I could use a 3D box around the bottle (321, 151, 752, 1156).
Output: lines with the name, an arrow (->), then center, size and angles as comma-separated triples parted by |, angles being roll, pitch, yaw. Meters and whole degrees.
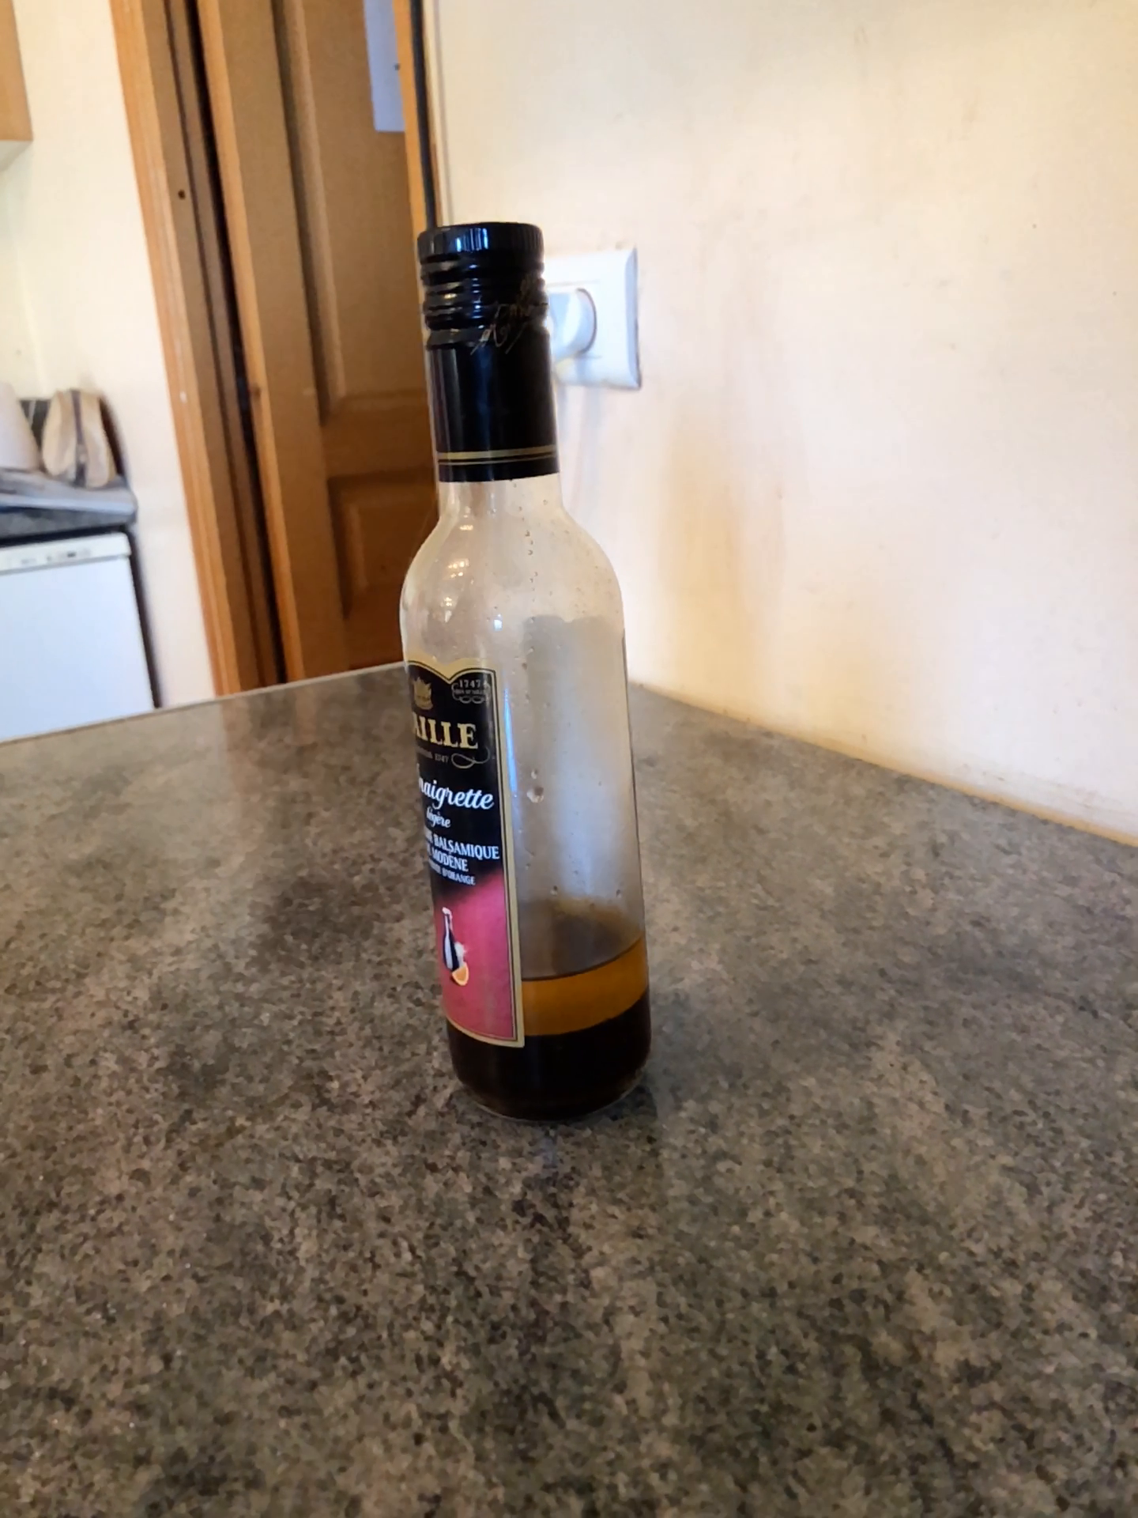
bottle -> -0.005, -0.026, 0.328 | 0.070, 0.229, 0.070 | -3, 16, 1
